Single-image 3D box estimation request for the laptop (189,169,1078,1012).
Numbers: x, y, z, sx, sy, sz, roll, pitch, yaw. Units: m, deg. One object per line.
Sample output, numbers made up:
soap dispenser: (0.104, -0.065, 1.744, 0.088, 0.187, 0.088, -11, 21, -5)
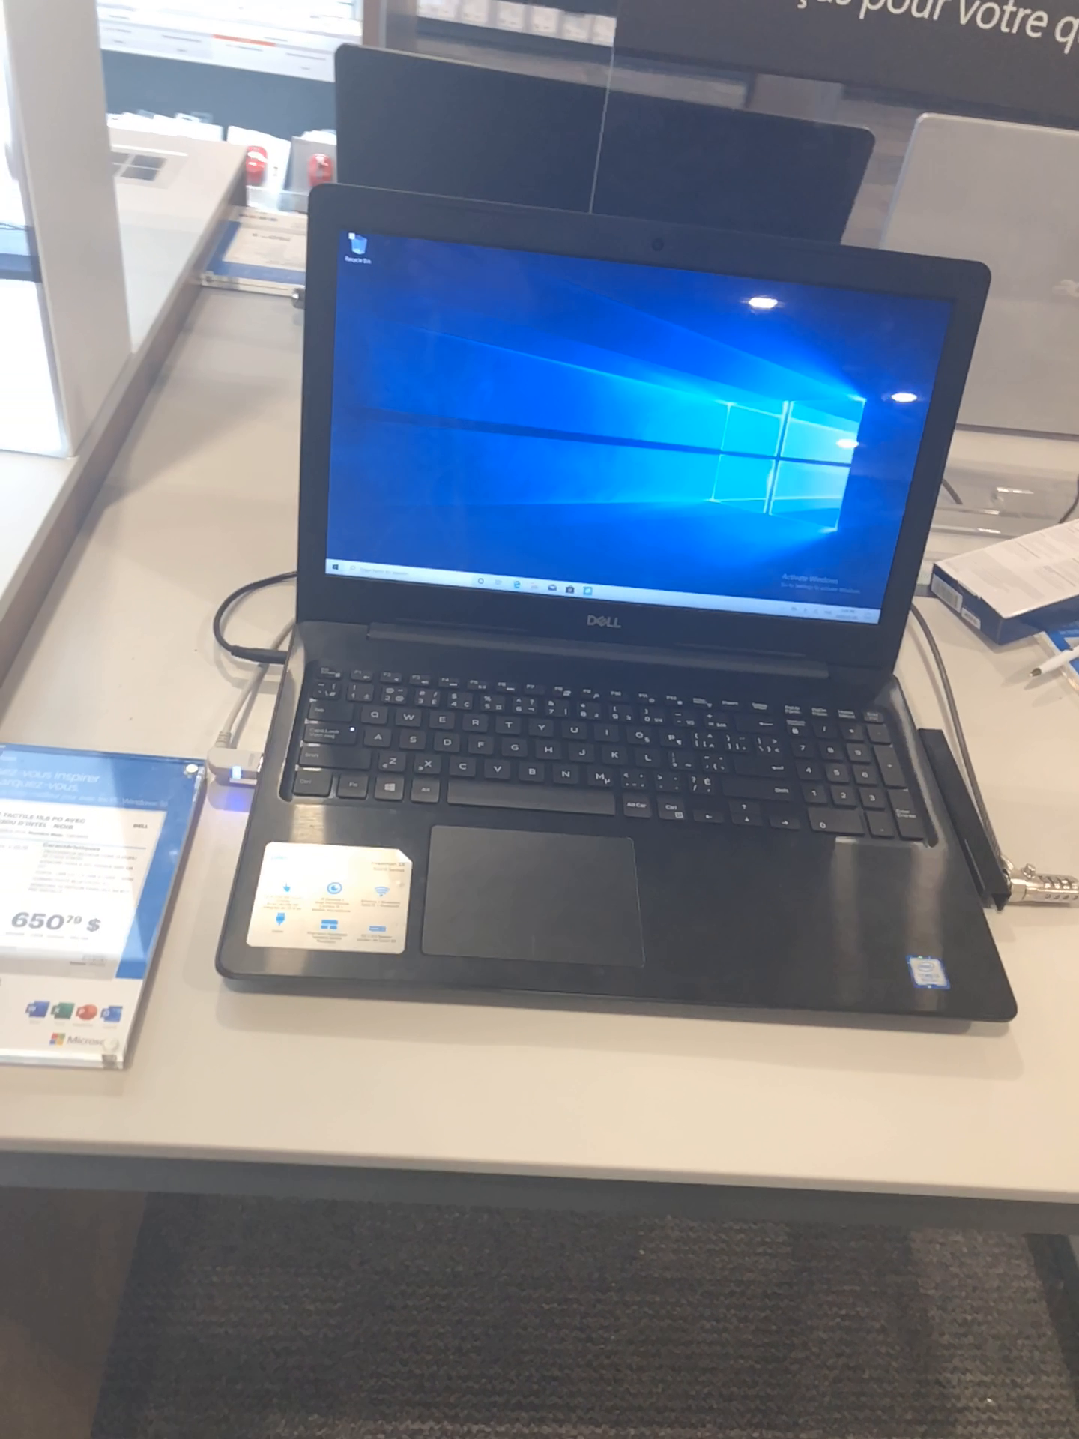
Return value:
laptop: (0.051, -0.076, 0.596, 0.363, 0.224, 0.337, 5, 44, -4)
